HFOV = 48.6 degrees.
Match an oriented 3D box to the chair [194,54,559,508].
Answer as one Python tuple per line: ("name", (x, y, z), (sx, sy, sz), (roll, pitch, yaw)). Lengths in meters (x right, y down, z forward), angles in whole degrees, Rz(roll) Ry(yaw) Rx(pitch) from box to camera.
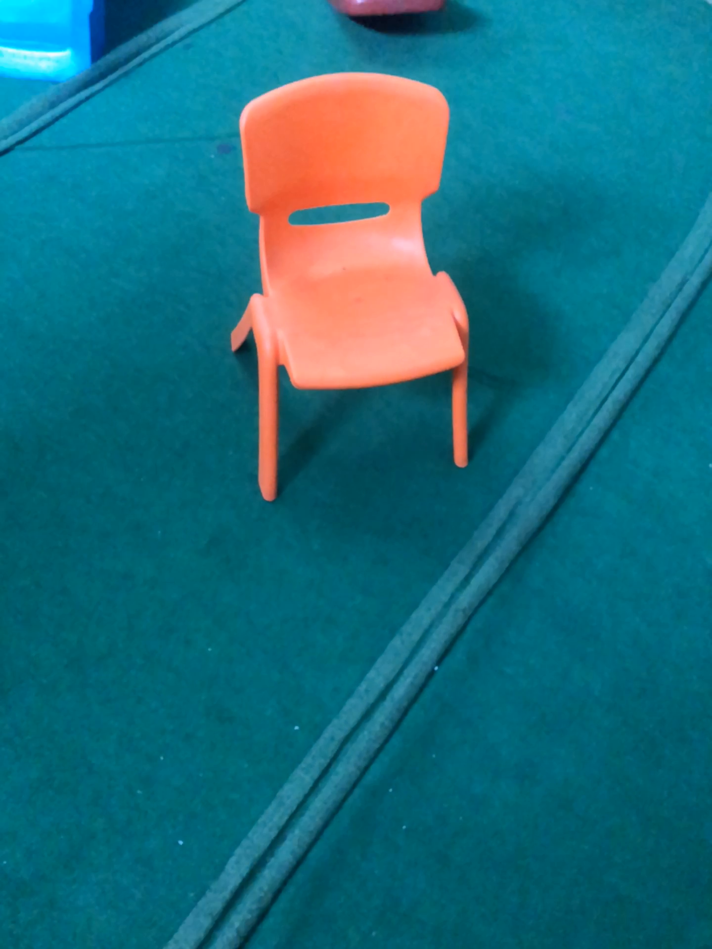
("chair", (-0.012, -0.267, 1.163), (0.360, 0.479, 0.391), (-9, 59, -12))
